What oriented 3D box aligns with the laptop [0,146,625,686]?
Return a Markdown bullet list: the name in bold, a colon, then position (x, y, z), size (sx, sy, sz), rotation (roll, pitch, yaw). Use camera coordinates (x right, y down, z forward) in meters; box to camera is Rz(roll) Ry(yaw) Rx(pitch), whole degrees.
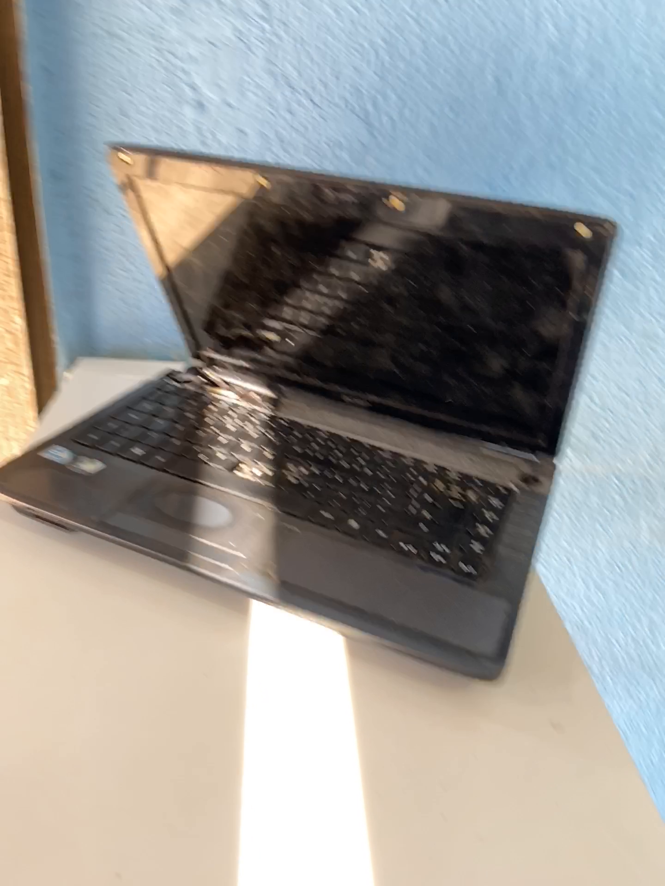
- **laptop**: position (-0.020, -0.059, 0.432), size (0.334, 0.182, 0.229), rotation (16, 31, 19)
